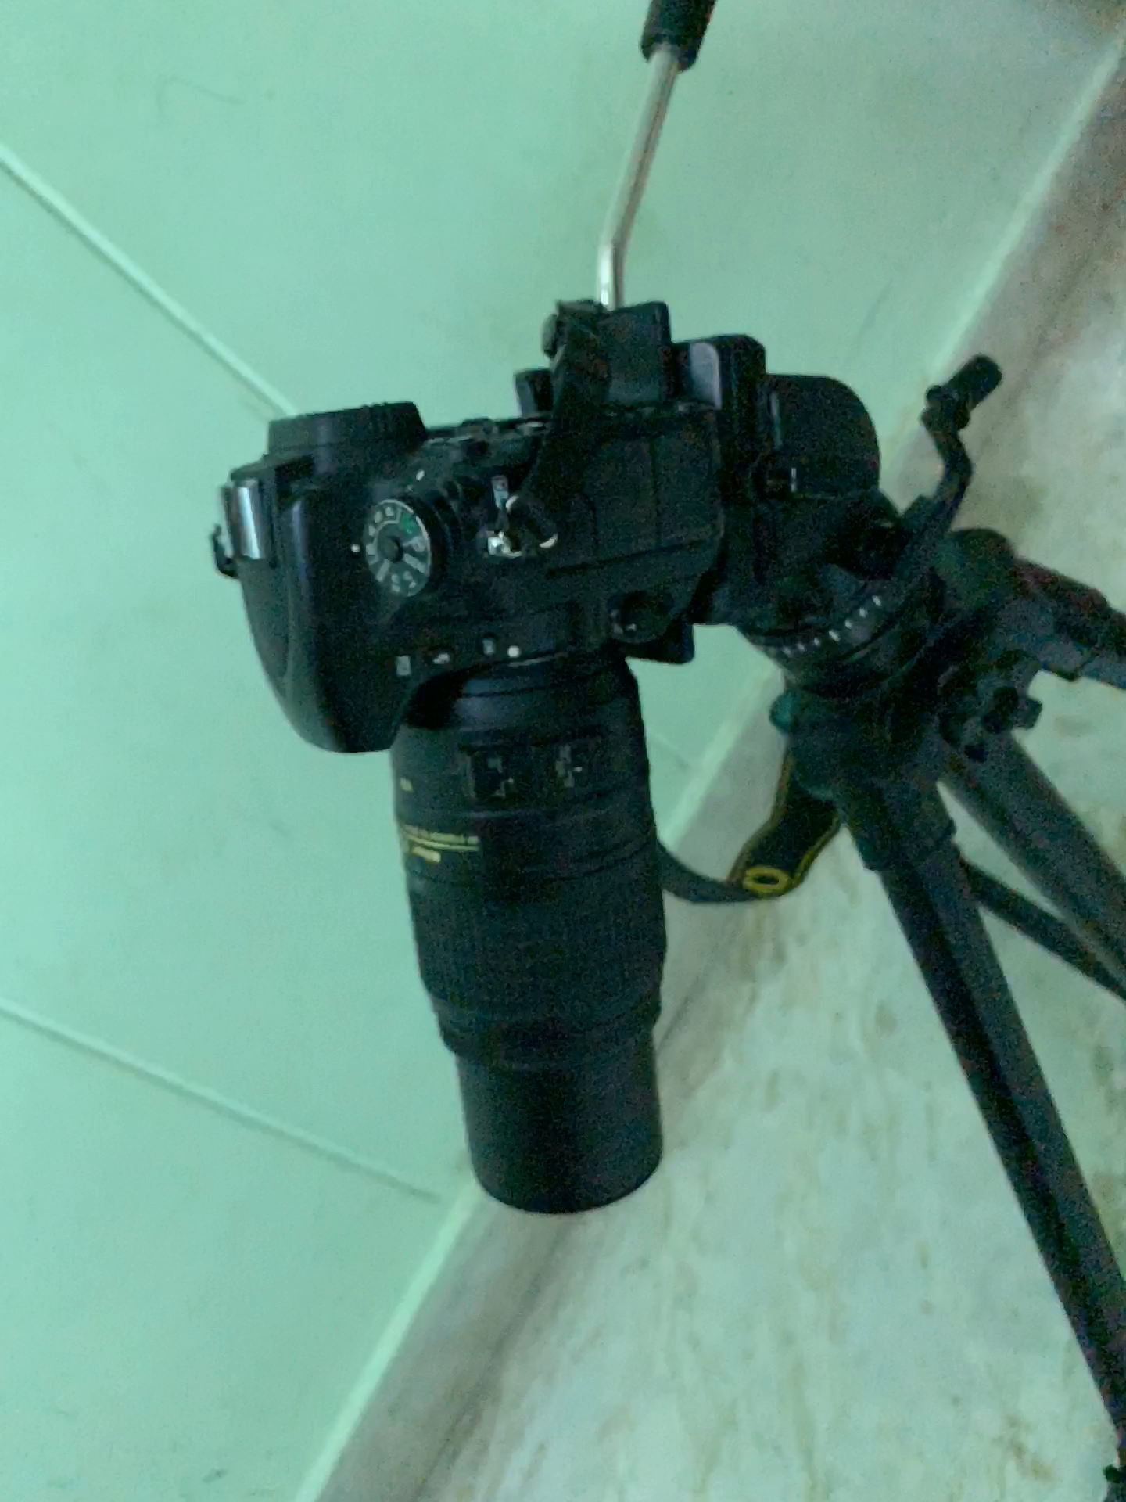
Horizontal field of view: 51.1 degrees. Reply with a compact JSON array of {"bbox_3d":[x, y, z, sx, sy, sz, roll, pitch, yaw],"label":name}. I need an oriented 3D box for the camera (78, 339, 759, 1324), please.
[{"bbox_3d":[-0.038,0.007,0.329,0.116,0.214,0.131,-16,20,-32],"label":"camera"}]
